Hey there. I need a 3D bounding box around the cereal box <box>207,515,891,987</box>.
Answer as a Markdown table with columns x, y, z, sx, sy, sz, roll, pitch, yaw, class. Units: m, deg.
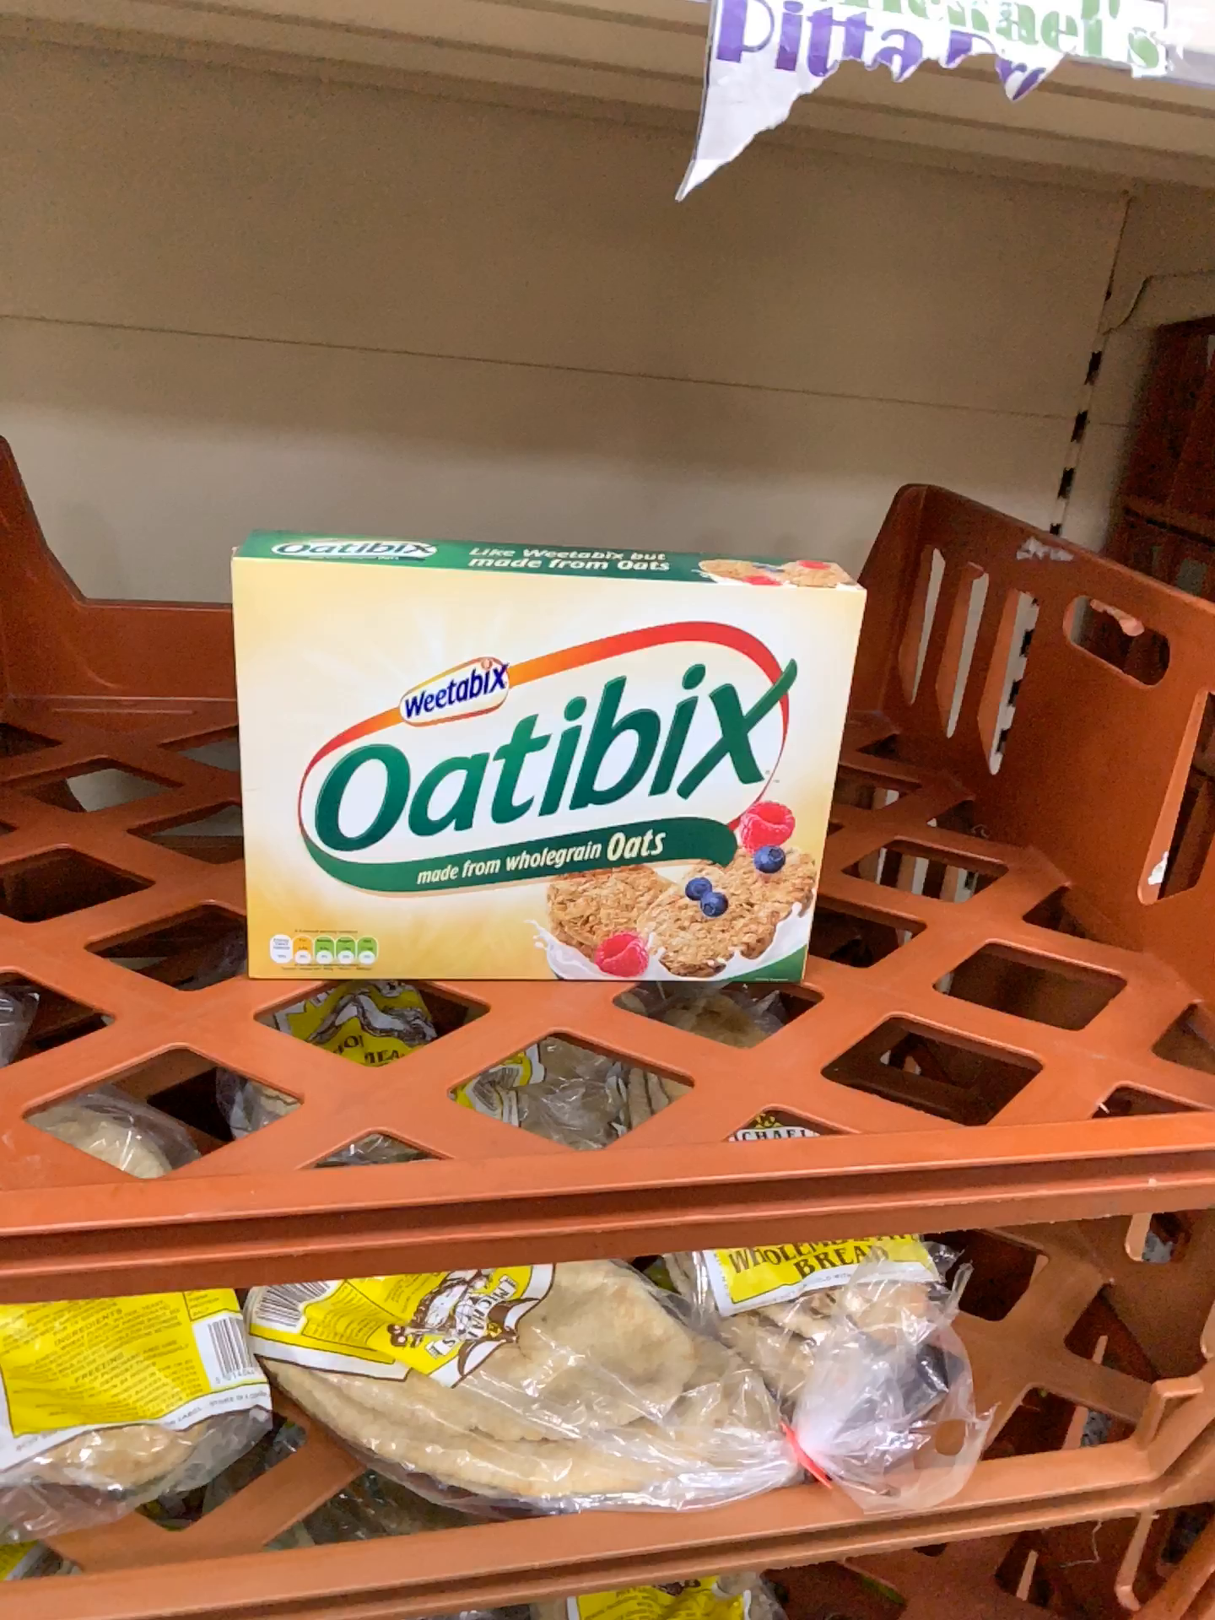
| x | y | z | sx | sy | sz | roll | pitch | yaw | class |
| --- | --- | --- | --- | --- | --- | --- | --- | --- | --- |
| -0.029 | -0.022 | 0.537 | 0.260 | 0.179 | 0.071 | 2 | 23 | -8 | cereal box |
